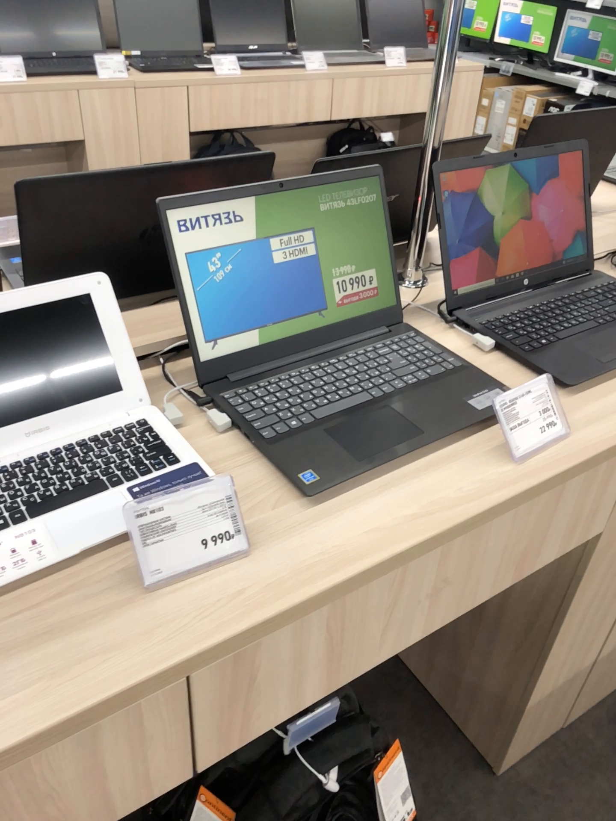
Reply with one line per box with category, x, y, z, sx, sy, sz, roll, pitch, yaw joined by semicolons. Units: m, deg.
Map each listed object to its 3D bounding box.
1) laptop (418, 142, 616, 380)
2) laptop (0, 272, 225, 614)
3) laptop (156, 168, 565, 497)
laptop;0.439;-0.261;1.072;0.375;0.206;0.322;-19;41;-29
laptop;-0.282;0.002;0.701;0.280;0.139;0.290;-20;42;-31
laptop;0.050;-0.134;0.860;0.355;0.212;0.341;-19;42;-31
